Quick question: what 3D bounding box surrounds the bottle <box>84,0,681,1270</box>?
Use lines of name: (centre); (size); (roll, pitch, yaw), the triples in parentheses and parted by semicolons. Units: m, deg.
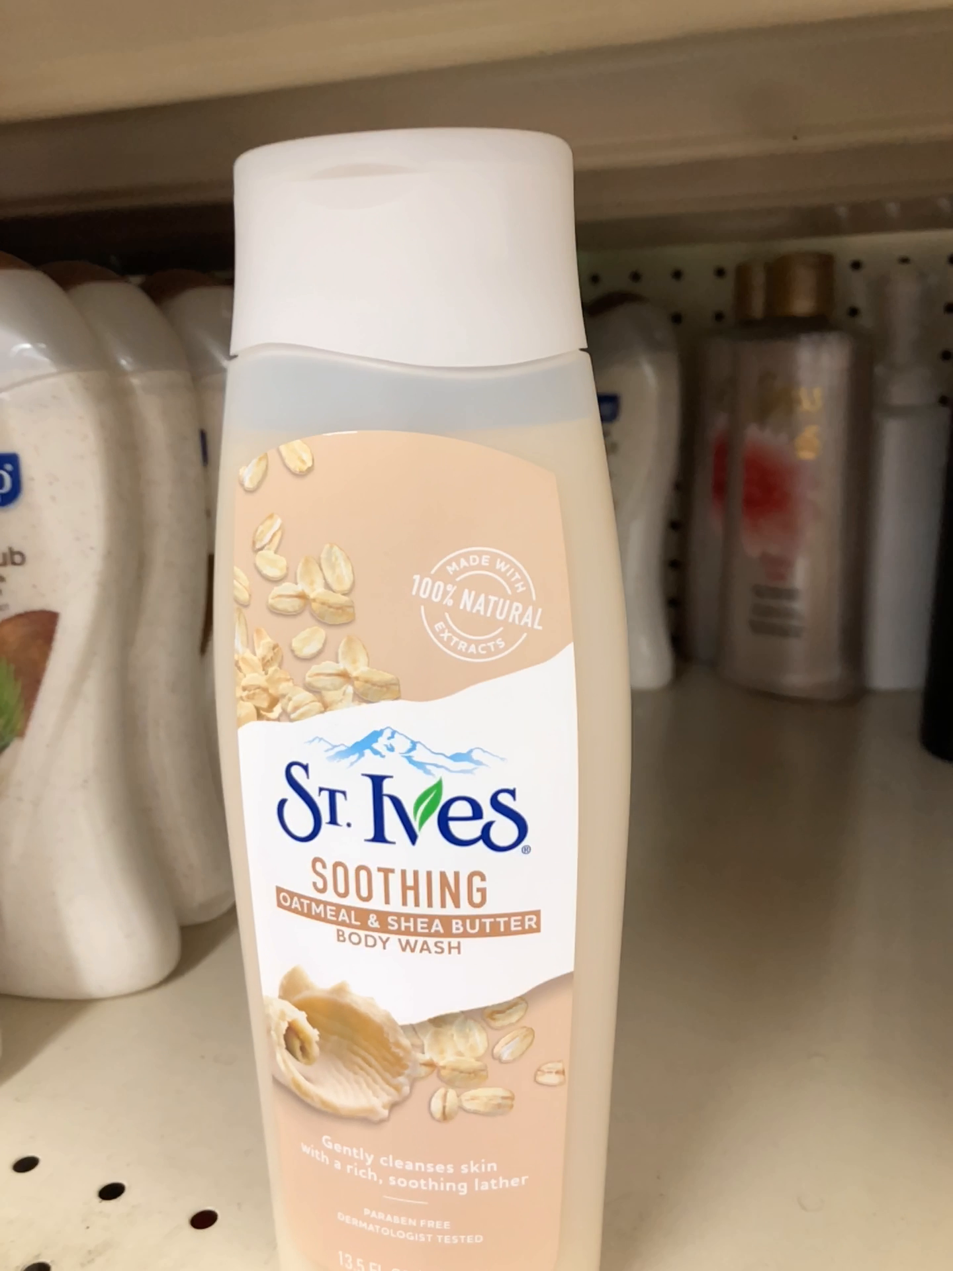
bottle: (-0.007, 0.022, 0.198); (0.080, 0.229, 0.050); (2, 17, 15)
